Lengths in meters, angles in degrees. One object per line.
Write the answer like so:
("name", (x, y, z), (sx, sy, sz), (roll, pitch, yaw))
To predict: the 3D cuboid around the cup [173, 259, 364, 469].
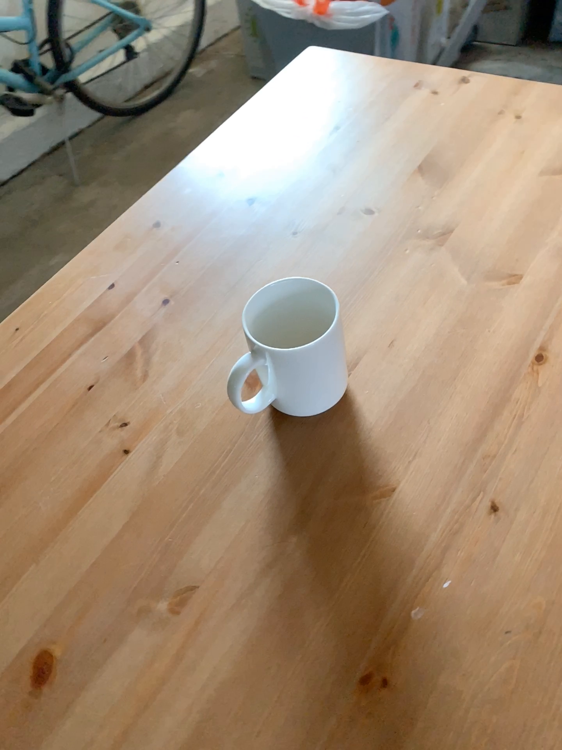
("cup", (-0.005, -0.011, 0.528), (0.100, 0.100, 0.130), (32, 66, 28))
